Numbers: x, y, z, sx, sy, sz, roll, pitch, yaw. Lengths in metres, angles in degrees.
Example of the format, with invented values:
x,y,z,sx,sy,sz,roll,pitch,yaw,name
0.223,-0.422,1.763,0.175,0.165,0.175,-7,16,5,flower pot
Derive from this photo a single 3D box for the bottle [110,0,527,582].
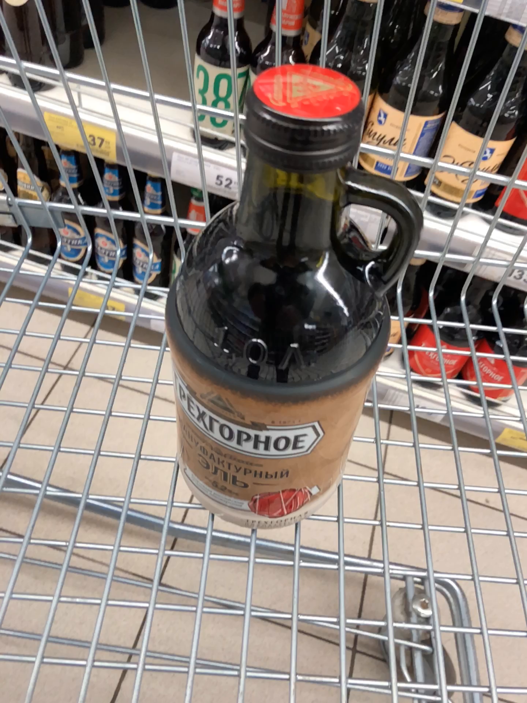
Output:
x,y,z,sx,sy,sz,roll,pitch,yaw,name
0.016,-0.010,0.258,0.110,0.229,0.100,5,50,-6,bottle
